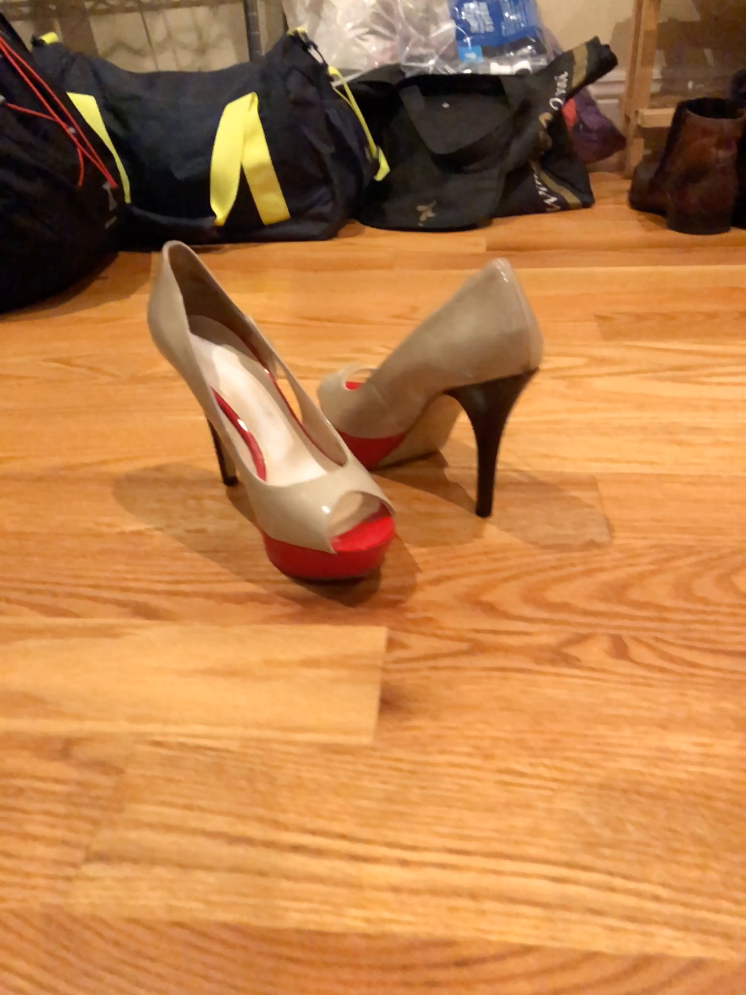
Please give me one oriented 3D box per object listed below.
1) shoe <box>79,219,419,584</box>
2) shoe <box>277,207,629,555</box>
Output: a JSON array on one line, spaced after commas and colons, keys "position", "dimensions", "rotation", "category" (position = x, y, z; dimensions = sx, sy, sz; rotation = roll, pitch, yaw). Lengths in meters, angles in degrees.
[{"position": [-0.076, -0.069, 0.468], "dimensions": [0.085, 0.129, 0.216], "rotation": [-23, 36, -29], "category": "shoe"}, {"position": [0.039, -0.087, 0.524], "dimensions": [0.080, 0.149, 0.221], "rotation": [-24, 36, -31], "category": "shoe"}]
